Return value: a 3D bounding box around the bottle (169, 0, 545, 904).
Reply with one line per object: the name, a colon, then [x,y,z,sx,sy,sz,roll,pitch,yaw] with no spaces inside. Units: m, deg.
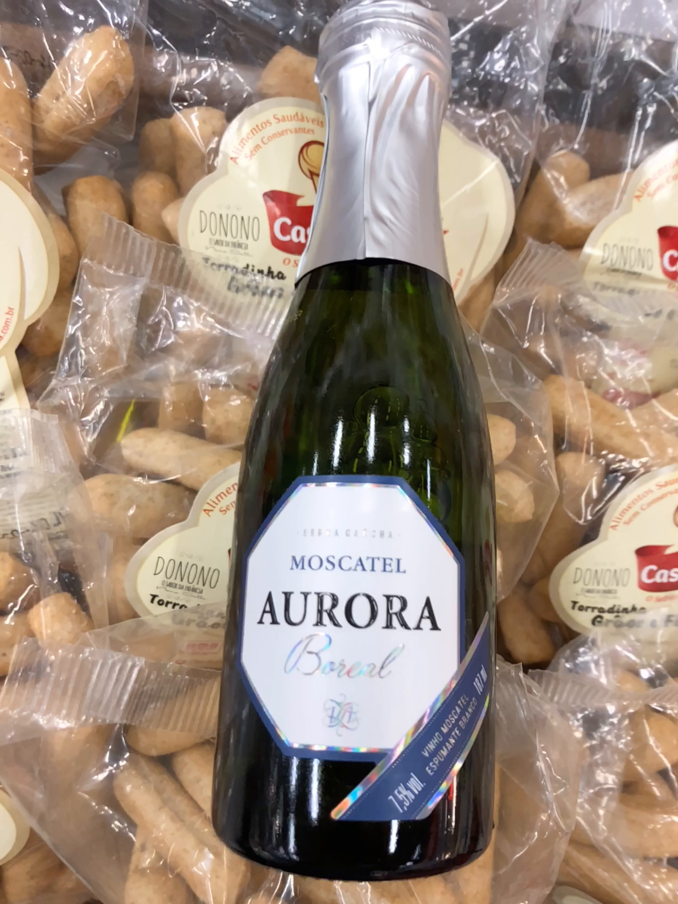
bottle: [0.003,-0.015,0.160,0.060,0.050,0.200,4,83,-10]
